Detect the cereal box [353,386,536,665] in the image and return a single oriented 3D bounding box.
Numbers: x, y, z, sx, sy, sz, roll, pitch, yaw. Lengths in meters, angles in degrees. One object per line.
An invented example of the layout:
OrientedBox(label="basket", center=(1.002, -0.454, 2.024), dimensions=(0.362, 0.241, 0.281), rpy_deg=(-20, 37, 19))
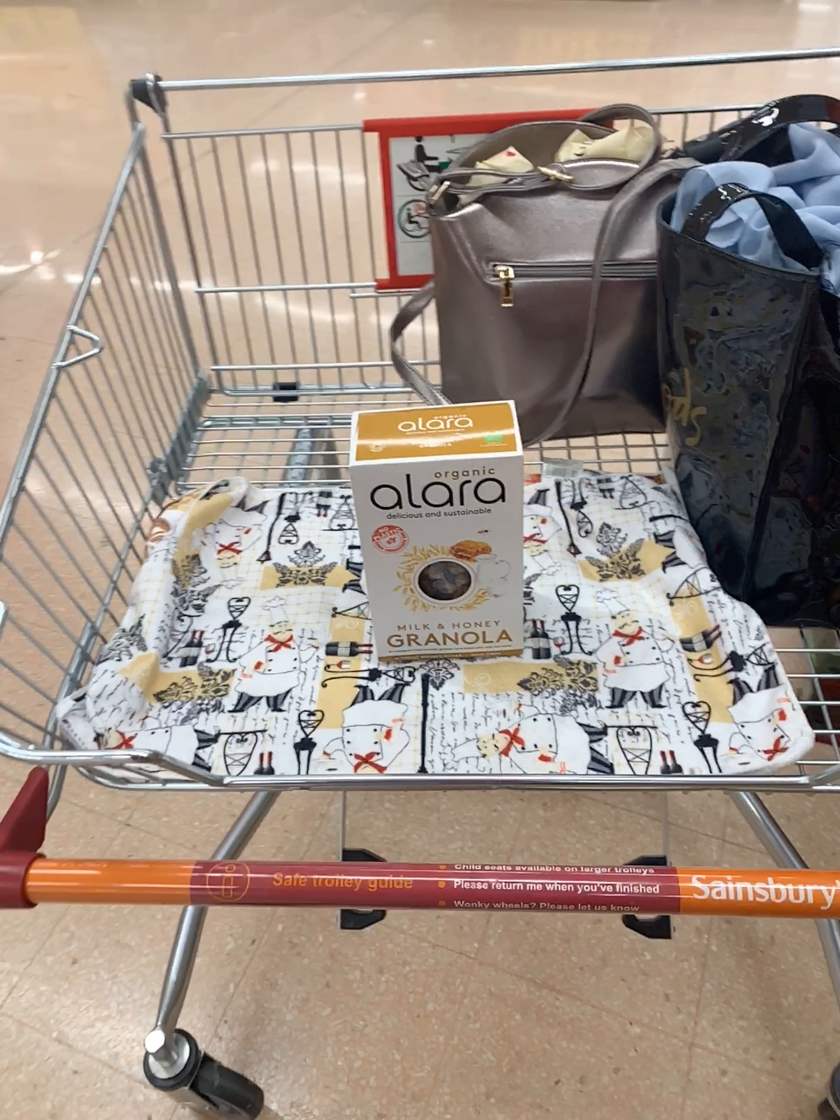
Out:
OrientedBox(label="cereal box", center=(0.020, -0.021, 0.658), dimensions=(0.120, 0.198, 0.081), rpy_deg=(-3, 40, 1))
